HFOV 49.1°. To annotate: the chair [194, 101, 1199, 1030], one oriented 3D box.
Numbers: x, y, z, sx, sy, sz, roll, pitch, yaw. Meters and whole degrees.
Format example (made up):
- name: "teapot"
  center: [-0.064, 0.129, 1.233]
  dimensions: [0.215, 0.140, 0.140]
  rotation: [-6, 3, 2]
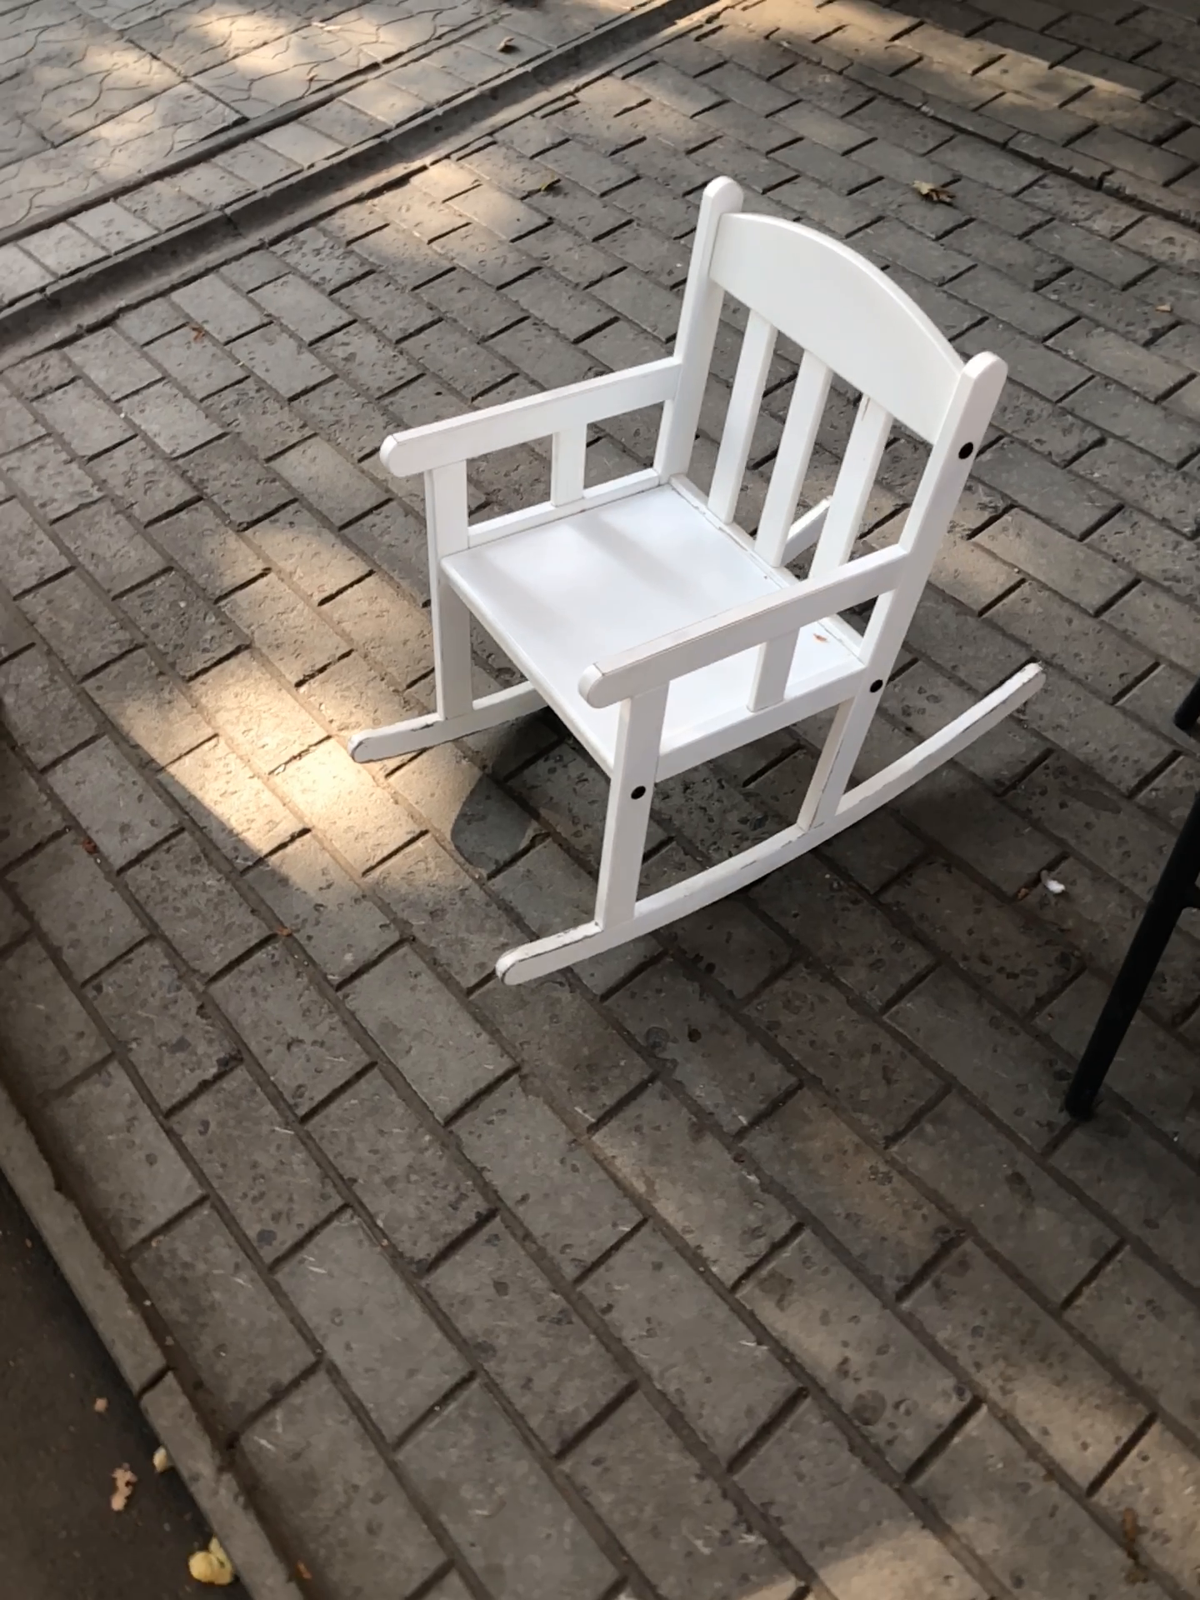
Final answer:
- name: "chair"
  center: [0.099, -0.227, 1.254]
  dimensions: [0.731, 0.518, 0.381]
  rotation: [-27, 55, -17]
